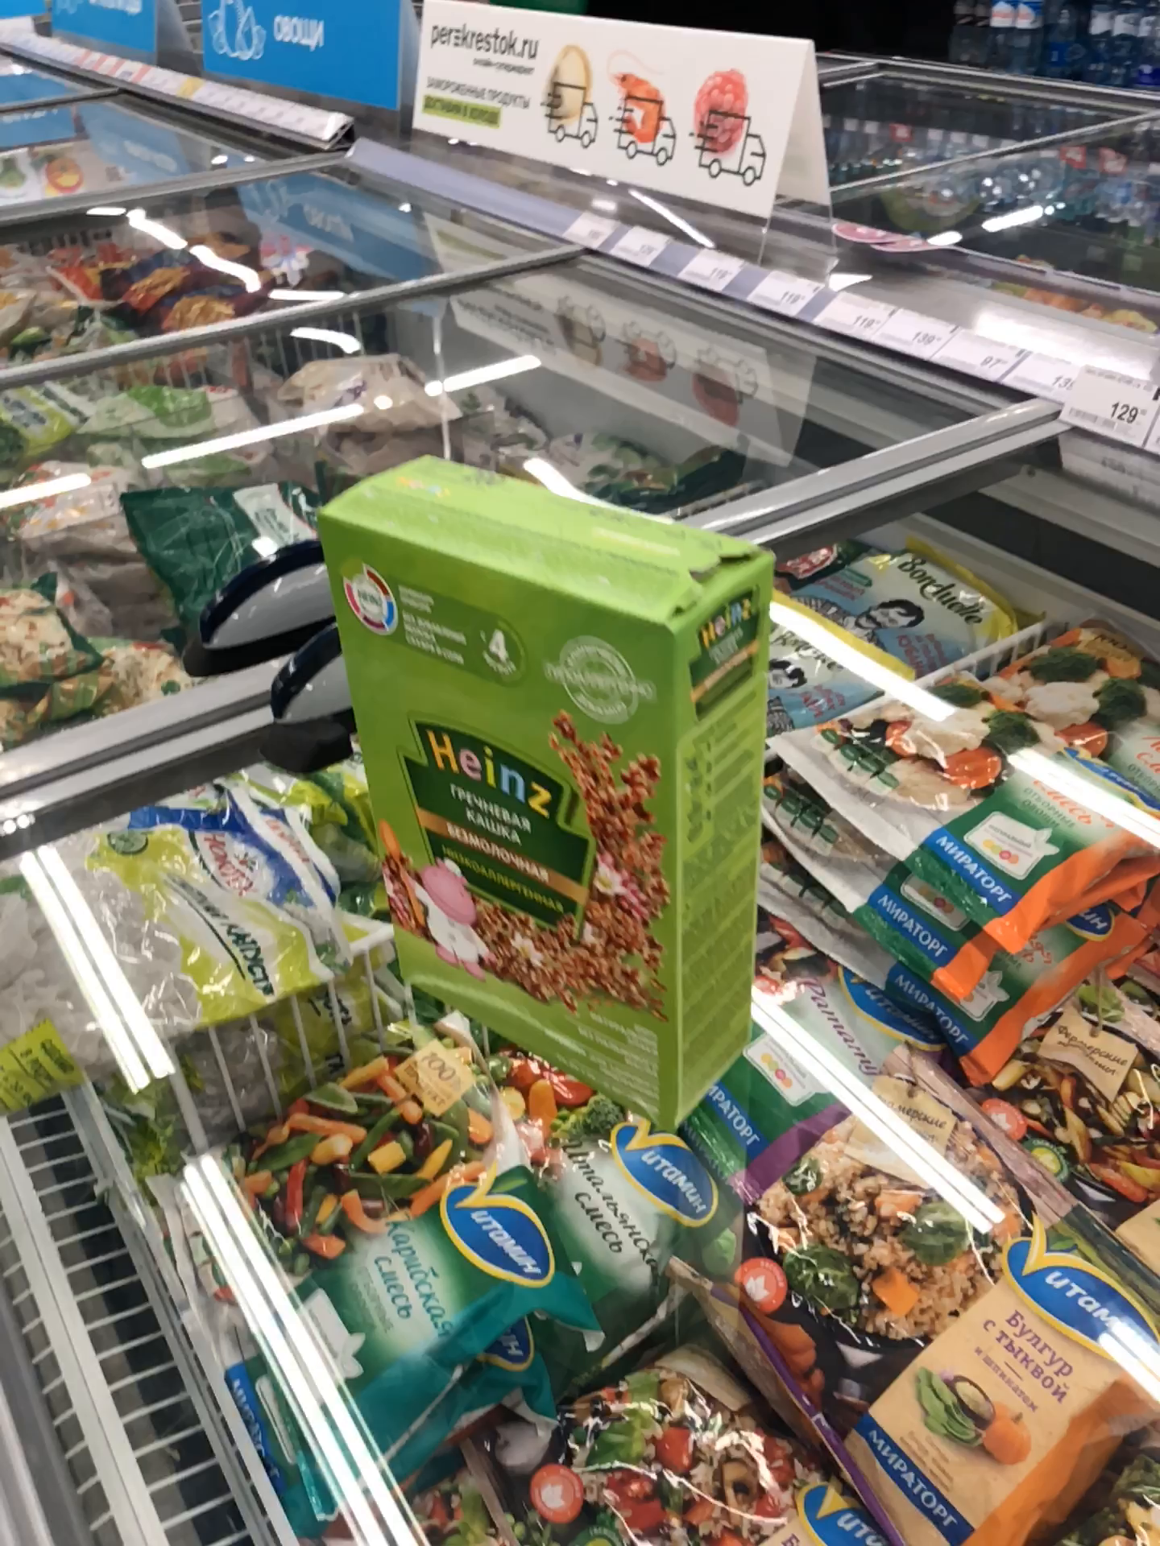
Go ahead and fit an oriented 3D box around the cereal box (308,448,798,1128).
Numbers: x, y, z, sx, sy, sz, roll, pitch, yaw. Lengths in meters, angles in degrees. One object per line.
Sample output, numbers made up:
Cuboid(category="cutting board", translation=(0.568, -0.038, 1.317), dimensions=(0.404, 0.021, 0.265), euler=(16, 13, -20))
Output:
Cuboid(category="cereal box", translation=(-0.007, 0.006, 0.420), dimensions=(0.140, 0.189, 0.050), euler=(23, 43, 31))
